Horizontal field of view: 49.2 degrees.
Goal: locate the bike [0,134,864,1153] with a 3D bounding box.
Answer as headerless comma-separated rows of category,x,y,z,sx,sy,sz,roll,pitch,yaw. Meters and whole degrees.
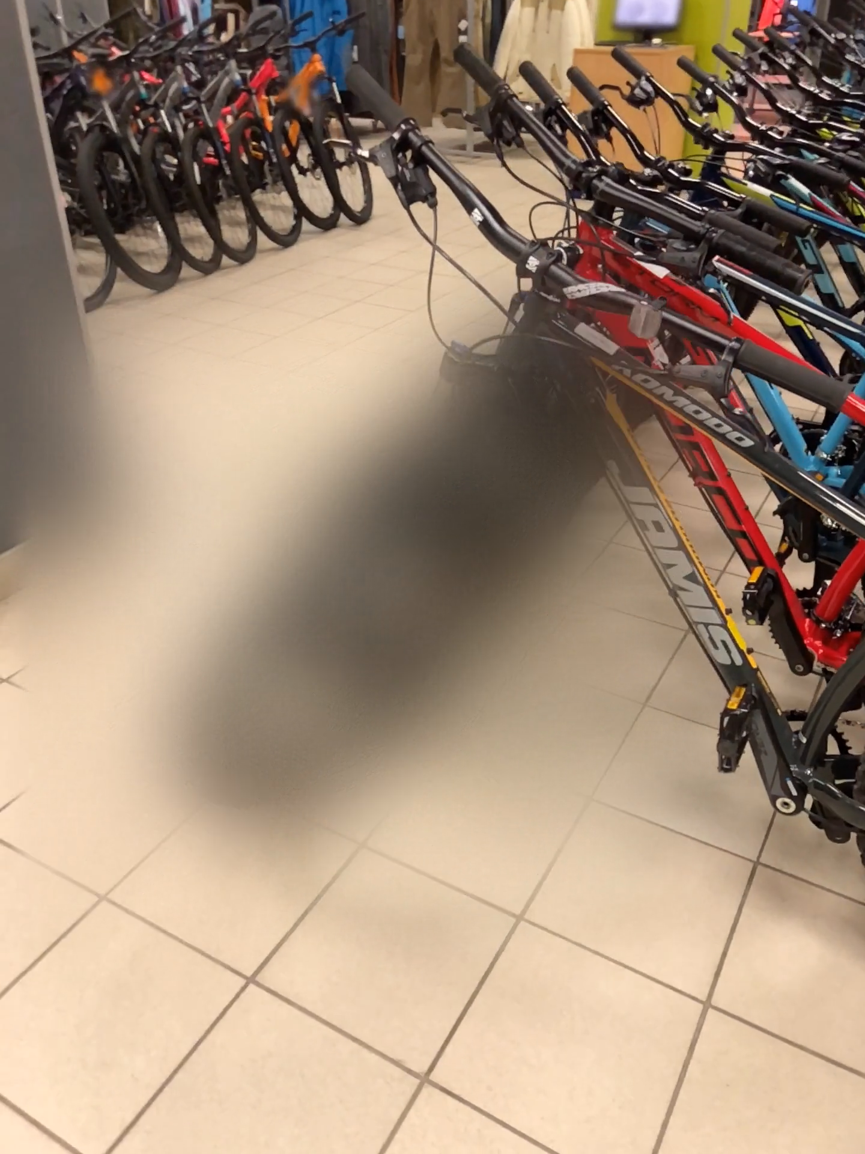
bike,0.450,0.165,1.111,1.542,1.166,0.811,9,32,16
